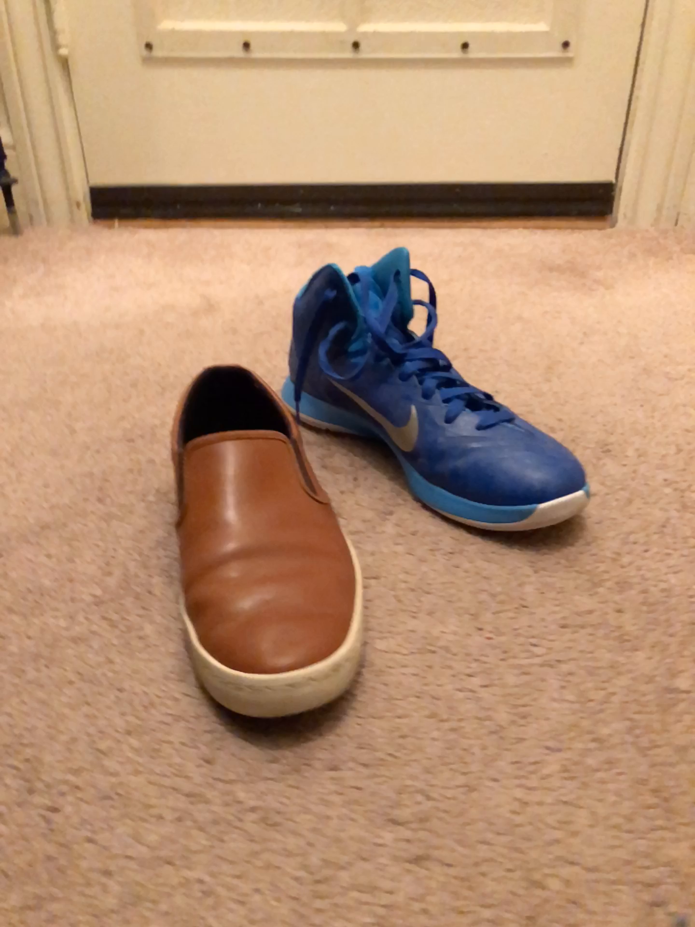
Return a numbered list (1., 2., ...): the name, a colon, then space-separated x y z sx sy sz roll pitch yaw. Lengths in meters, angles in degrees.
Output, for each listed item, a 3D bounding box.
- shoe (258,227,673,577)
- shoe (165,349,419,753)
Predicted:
1. shoe: 0.066 -0.067 0.579 0.115 0.142 0.293 -23 38 -32
2. shoe: -0.051 0.026 0.478 0.105 0.083 0.283 -7 32 -11
